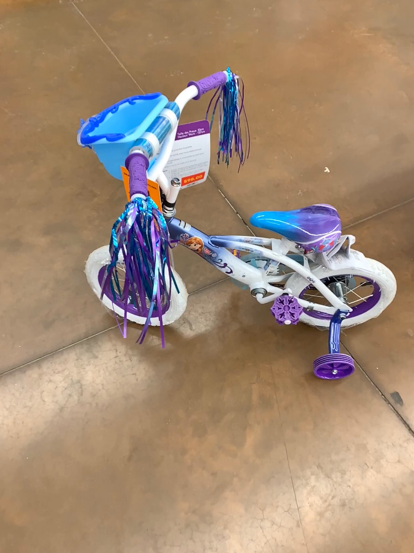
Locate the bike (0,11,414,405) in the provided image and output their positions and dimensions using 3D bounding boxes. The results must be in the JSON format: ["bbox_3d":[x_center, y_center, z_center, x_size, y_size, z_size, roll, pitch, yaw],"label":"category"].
[{"bbox_3d":[0.091,-0.083,0.921,0.804,0.633,0.441,5,53,-1],"label":"bike"}]
